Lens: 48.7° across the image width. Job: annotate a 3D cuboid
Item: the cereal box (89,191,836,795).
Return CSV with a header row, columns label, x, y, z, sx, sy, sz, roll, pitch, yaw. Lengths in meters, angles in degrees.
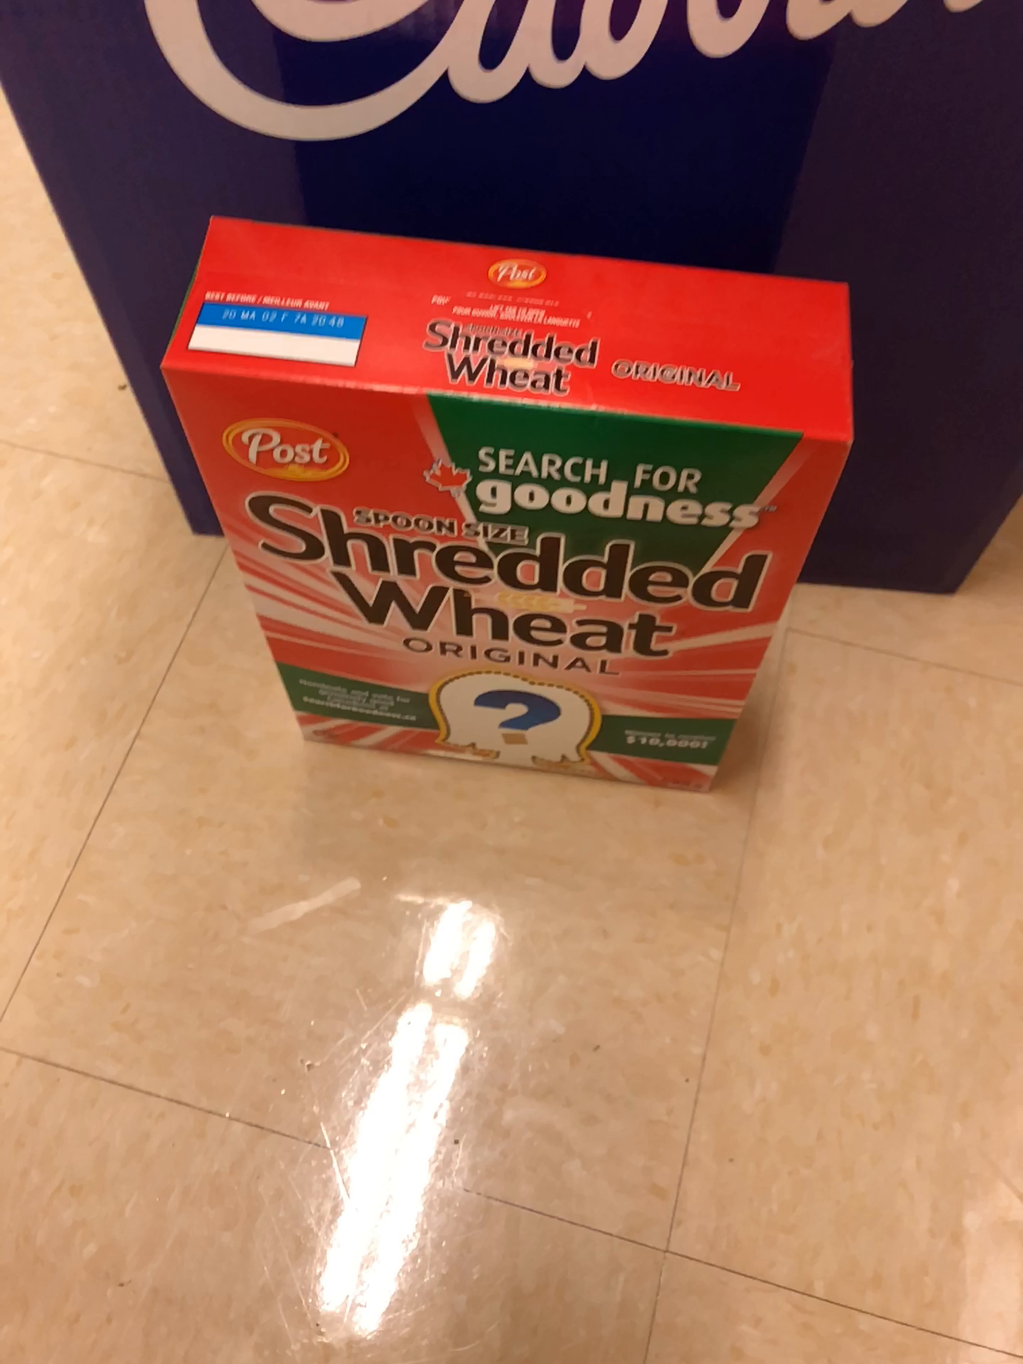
label,x,y,z,sx,sy,sz,roll,pitch,yaw
cereal box,-0.012,-0.049,0.450,0.210,0.269,0.070,6,63,3
